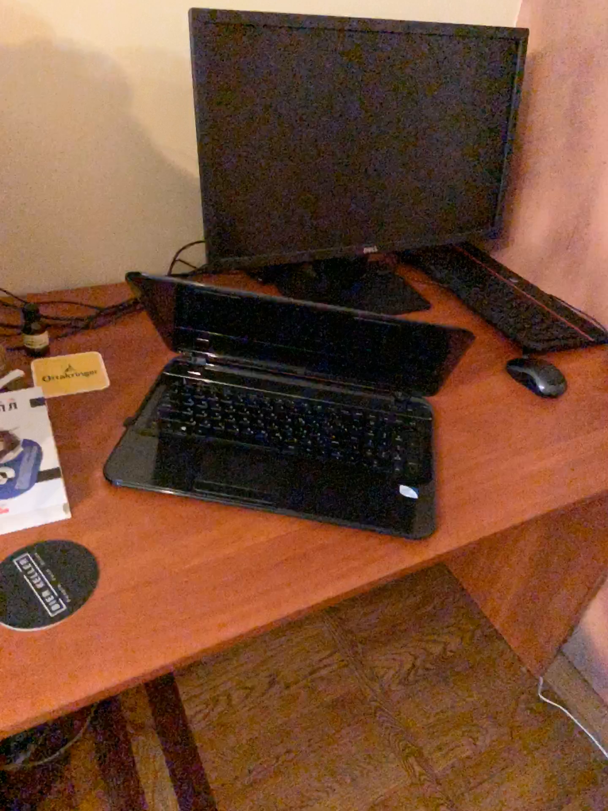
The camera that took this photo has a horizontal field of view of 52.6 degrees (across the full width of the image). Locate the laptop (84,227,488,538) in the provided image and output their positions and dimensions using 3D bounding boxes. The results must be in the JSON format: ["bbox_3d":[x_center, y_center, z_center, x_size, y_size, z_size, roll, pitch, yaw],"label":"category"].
[{"bbox_3d":[-0.012,-0.039,0.708,0.369,0.194,0.246,10,37,3],"label":"laptop"}]
